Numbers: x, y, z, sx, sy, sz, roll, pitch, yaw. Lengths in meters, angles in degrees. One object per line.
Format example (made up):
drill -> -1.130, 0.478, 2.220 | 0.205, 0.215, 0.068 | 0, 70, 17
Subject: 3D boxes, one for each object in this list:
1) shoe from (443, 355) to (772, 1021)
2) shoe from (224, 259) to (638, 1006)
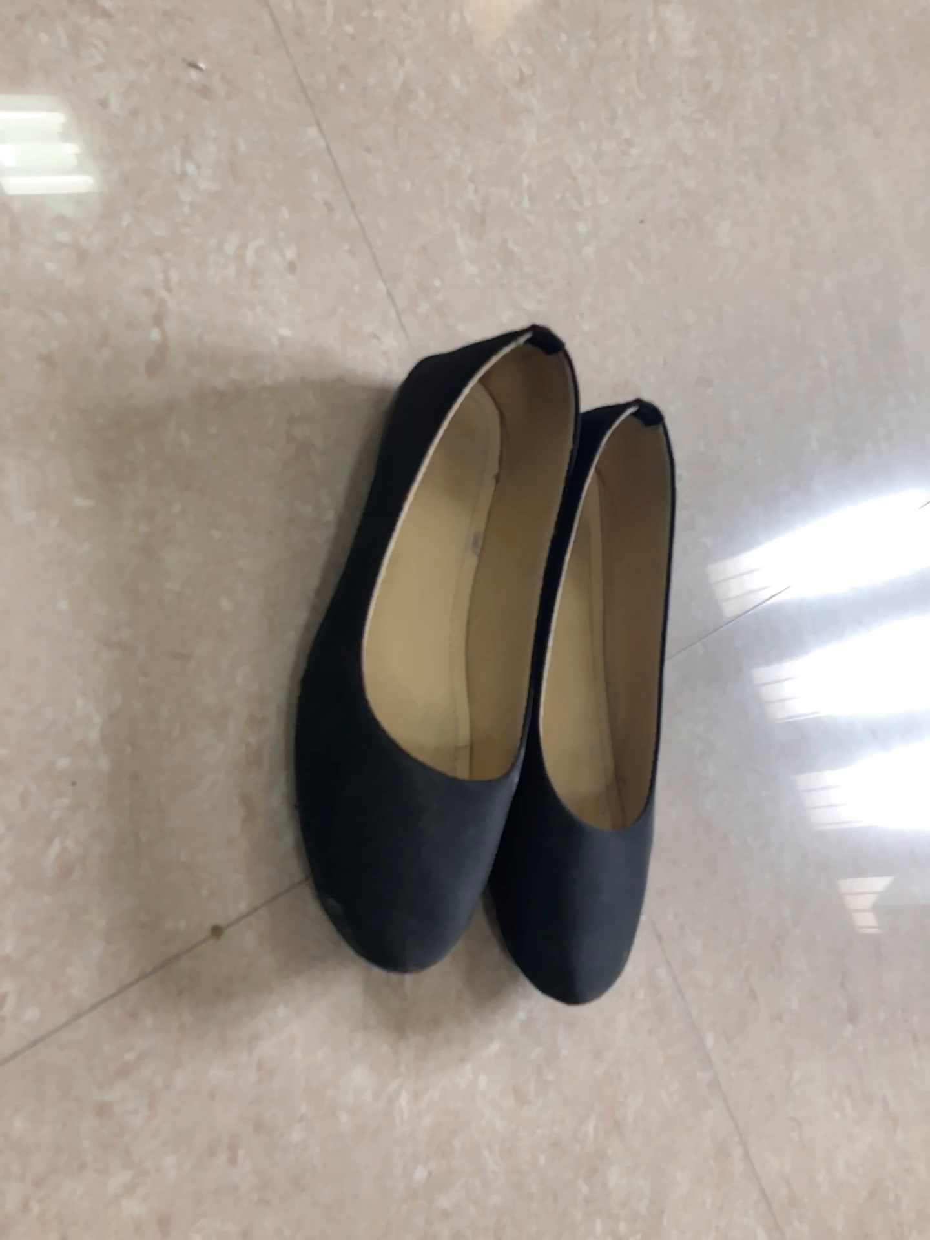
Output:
shoe -> 0.056, 0.030, 0.410 | 0.093, 0.075, 0.239 | 16, 67, -35
shoe -> -0.004, 0.006, 0.370 | 0.093, 0.075, 0.239 | 23, 63, -33
